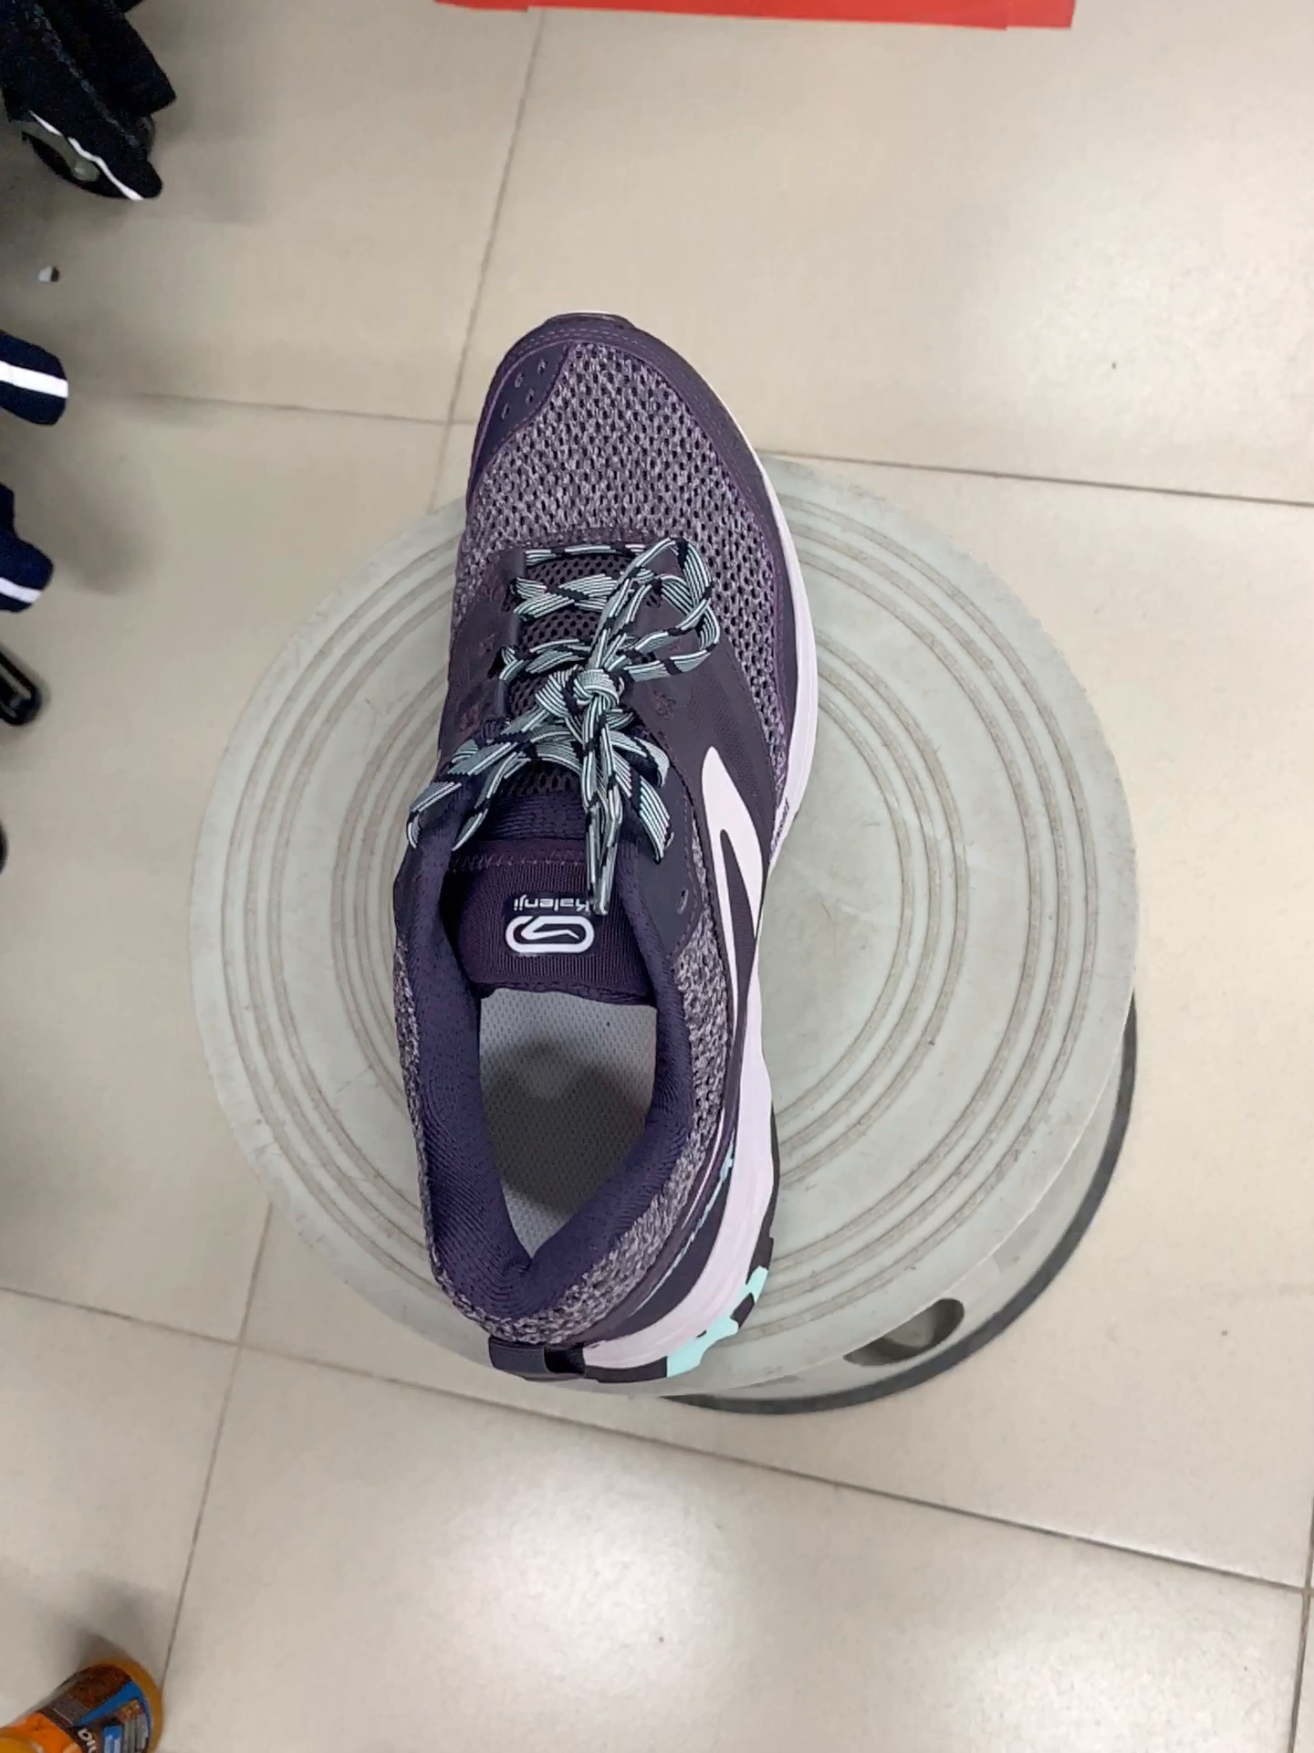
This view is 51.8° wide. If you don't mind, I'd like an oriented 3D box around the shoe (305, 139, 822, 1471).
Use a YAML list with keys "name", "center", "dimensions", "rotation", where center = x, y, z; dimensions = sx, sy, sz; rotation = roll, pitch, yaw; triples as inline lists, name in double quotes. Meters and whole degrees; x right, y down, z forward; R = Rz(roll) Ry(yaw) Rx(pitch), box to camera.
- name: "shoe"
  center: [-0.010, -0.018, 0.347]
  dimensions: [0.100, 0.110, 0.290]
  rotation: [0, 79, 9]
